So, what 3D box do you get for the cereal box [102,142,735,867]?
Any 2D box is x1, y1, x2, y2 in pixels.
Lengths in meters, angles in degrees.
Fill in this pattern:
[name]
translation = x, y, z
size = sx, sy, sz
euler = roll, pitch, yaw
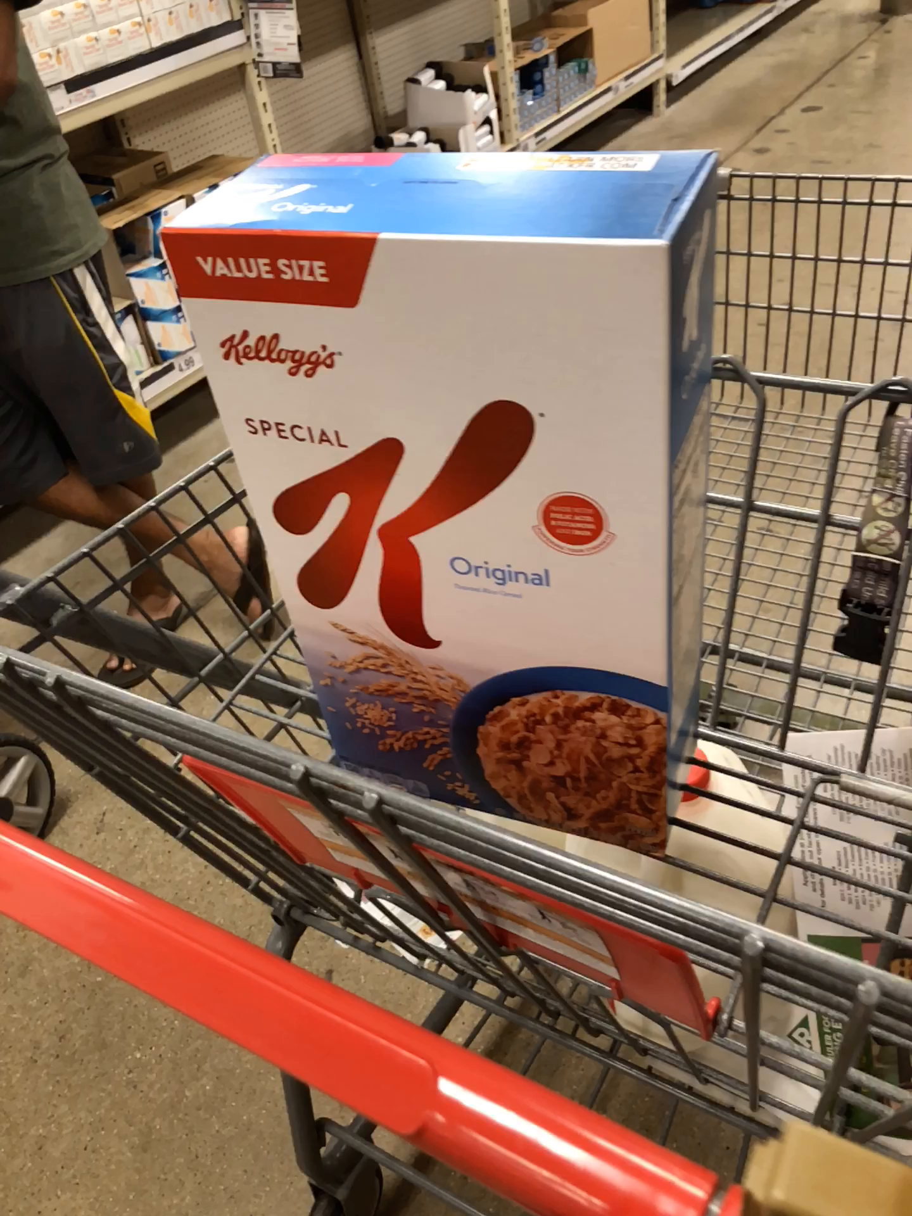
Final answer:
[cereal box]
translation = 0.005, -0.036, 0.484
size = 0.230, 0.329, 0.080
euler = 12, 46, 25
